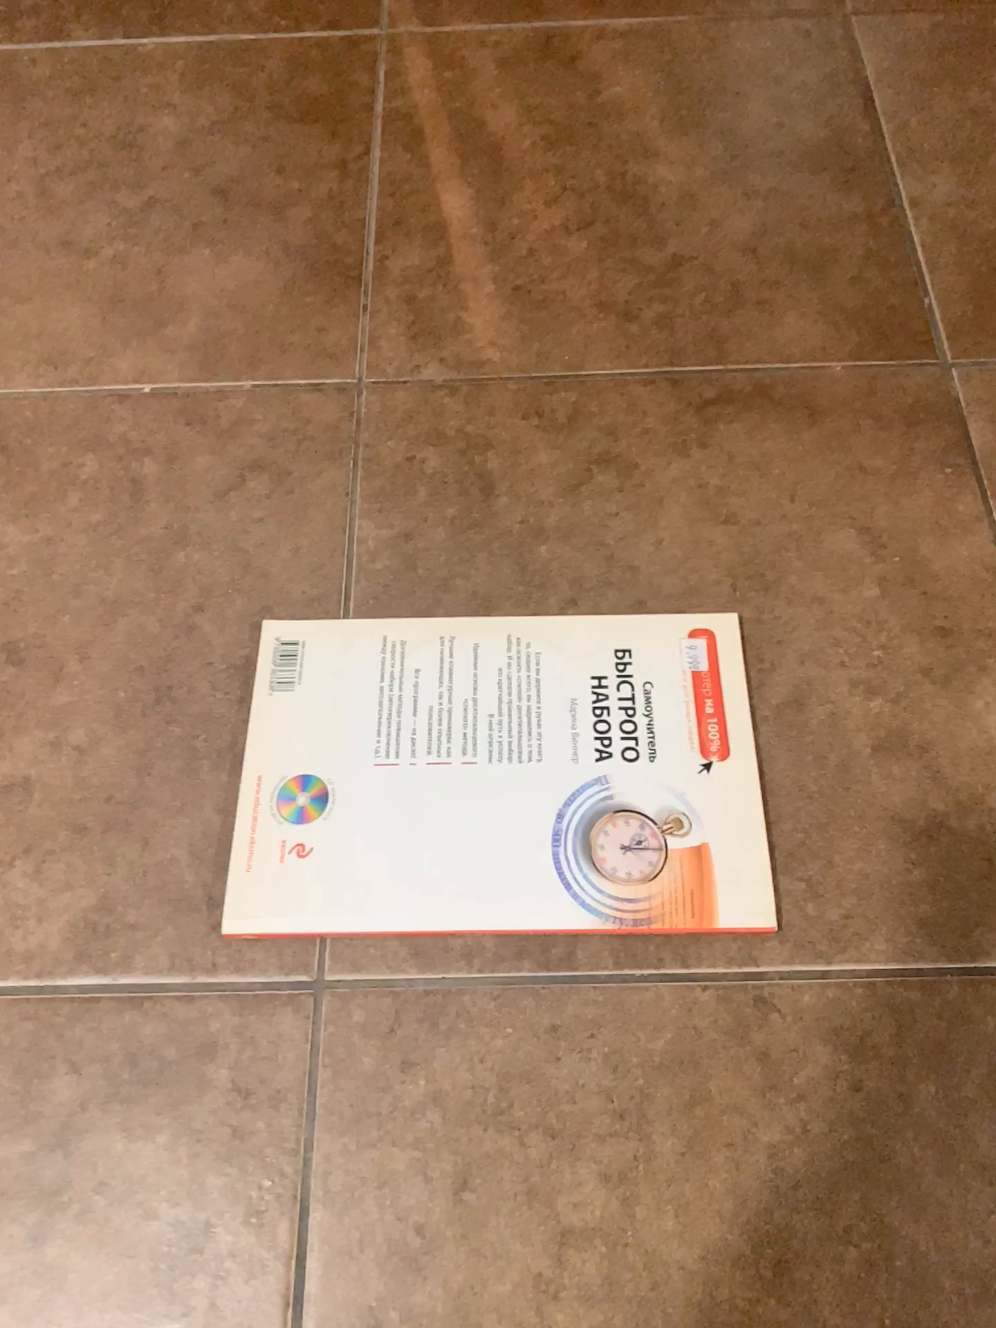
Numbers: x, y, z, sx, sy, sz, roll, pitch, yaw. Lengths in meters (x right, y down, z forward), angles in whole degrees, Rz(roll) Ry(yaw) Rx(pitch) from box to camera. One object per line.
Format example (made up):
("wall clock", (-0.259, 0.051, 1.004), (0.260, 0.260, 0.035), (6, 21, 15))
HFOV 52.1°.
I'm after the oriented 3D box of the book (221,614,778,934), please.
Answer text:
("book", (0.000, 0.042, 0.418), (0.210, 0.009, 0.135), (-1, 63, 2))
